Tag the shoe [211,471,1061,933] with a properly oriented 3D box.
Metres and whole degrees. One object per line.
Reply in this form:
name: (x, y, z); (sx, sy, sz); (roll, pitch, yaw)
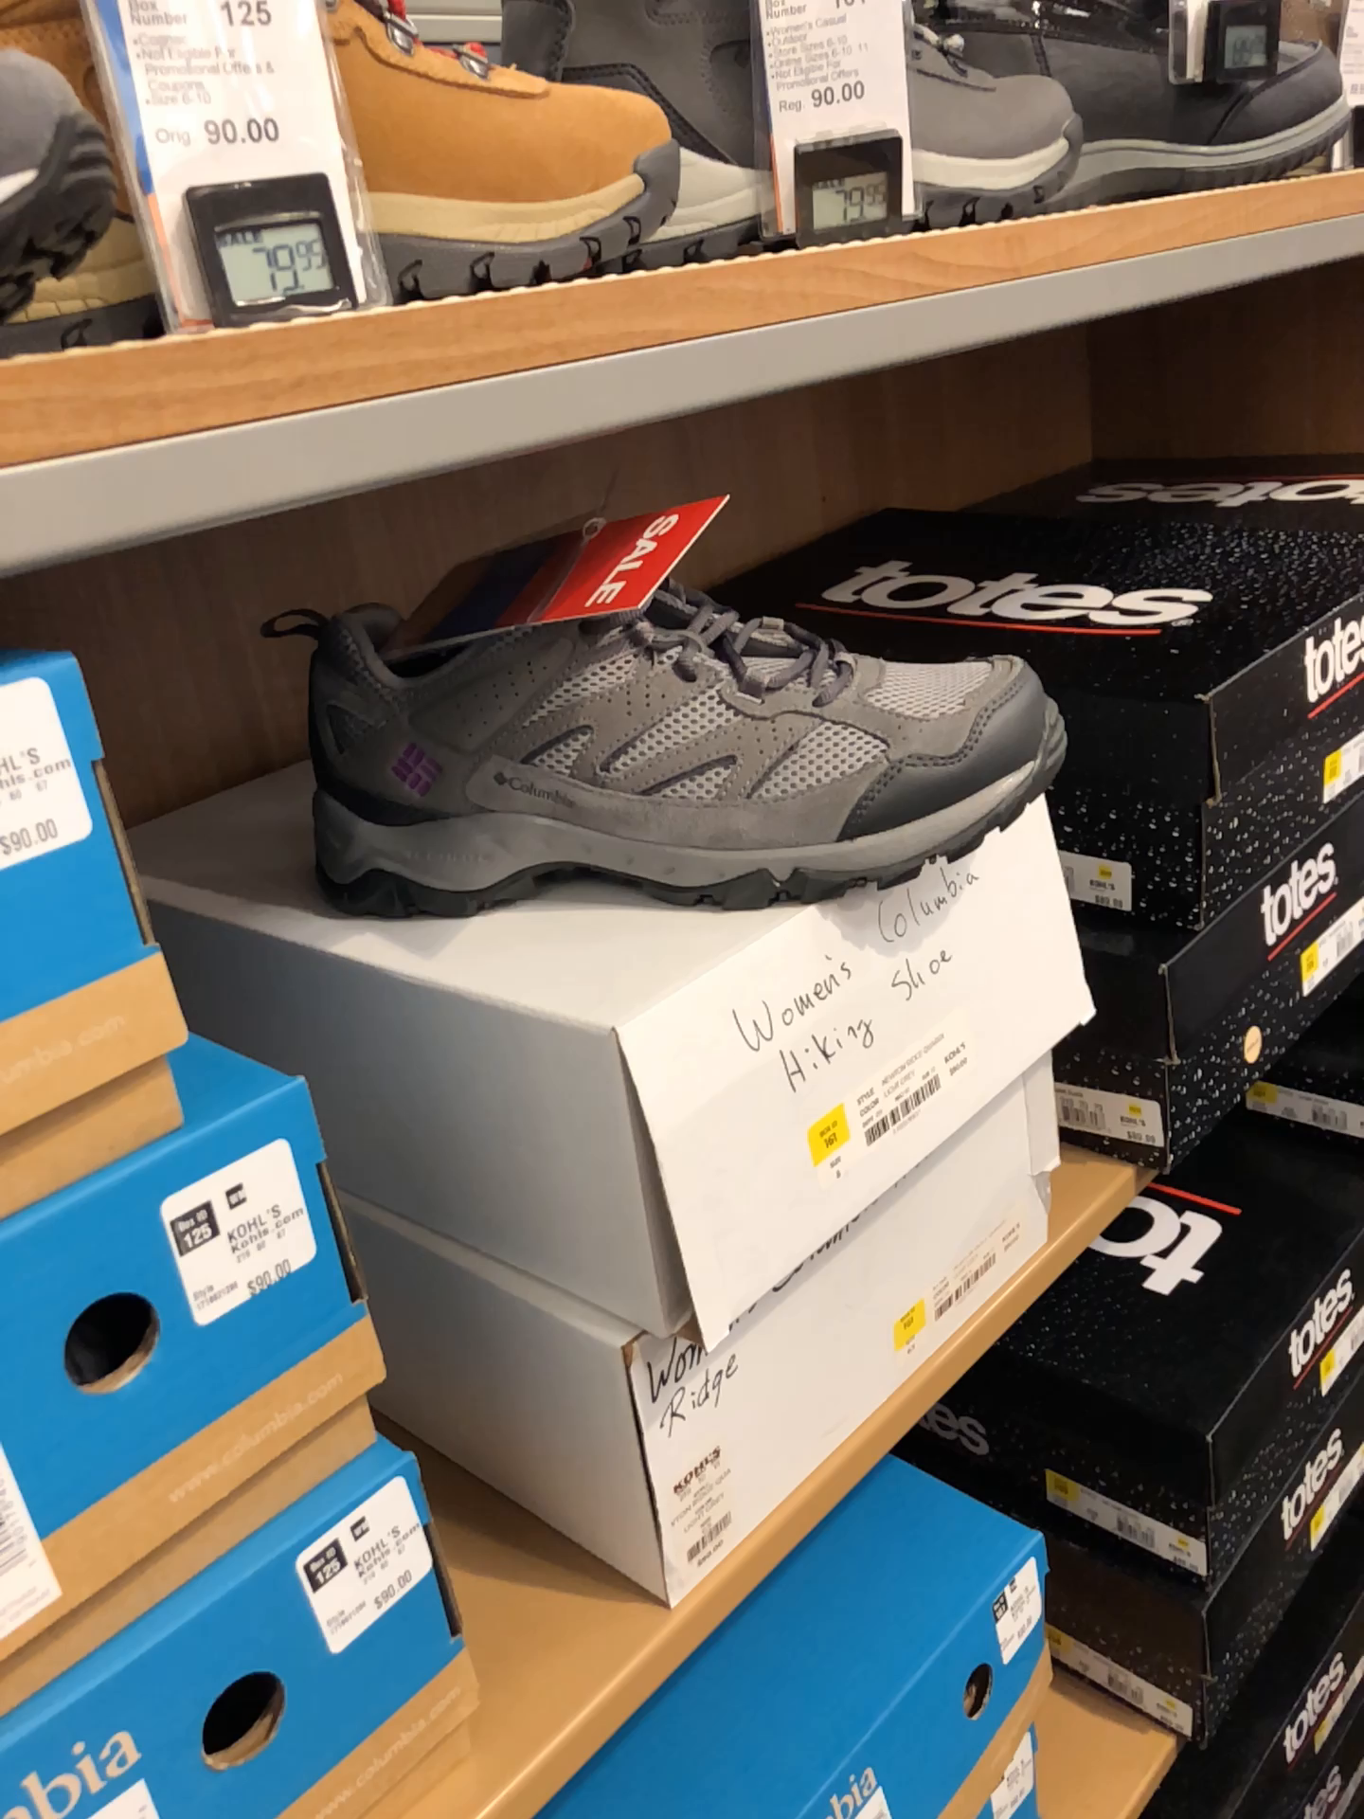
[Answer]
shoe: (-0.009, -0.075, 0.540); (0.267, 0.114, 0.104); (-5, 22, 10)
